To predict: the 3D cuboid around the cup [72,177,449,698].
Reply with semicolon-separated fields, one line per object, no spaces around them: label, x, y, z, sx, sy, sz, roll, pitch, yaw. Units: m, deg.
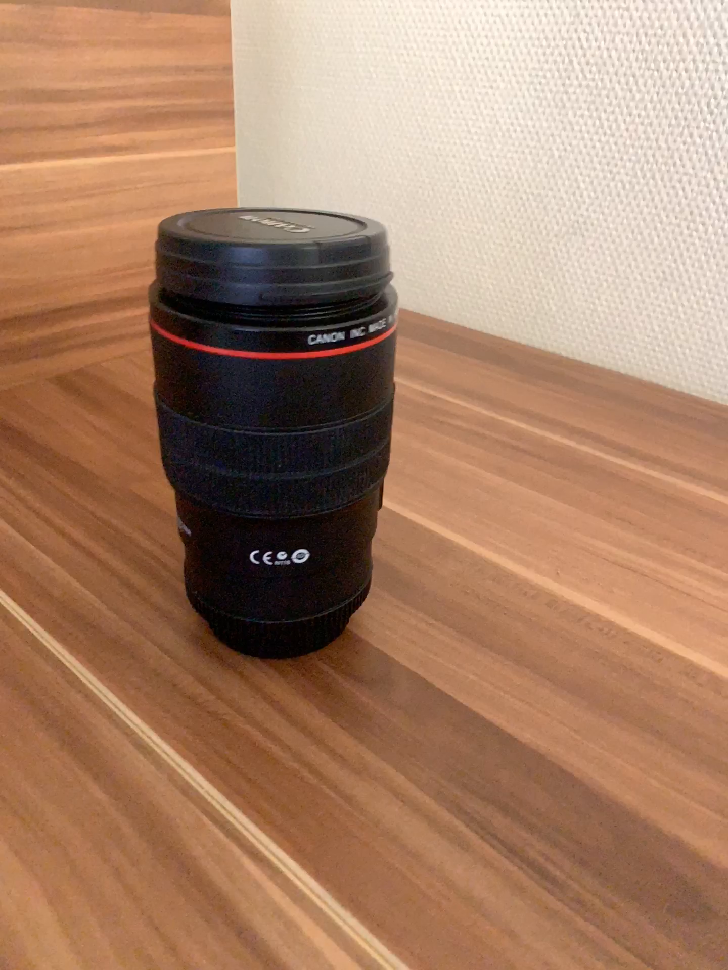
cup;-0.029;-0.018;0.247;0.080;0.139;0.070;16;32;21
